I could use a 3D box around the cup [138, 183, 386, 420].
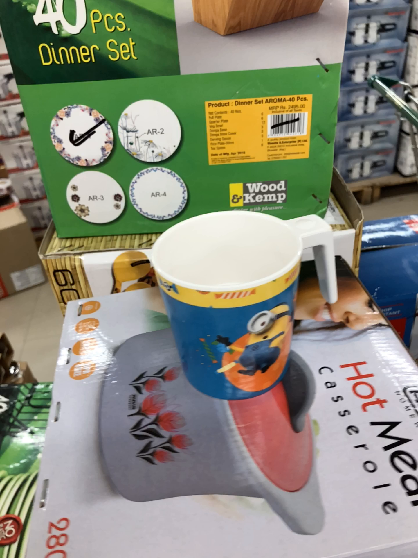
[{"bbox_3d":[0.029,0.007,0.276,0.110,0.079,0.080,-19,36,-16],"label":"cup"}]
